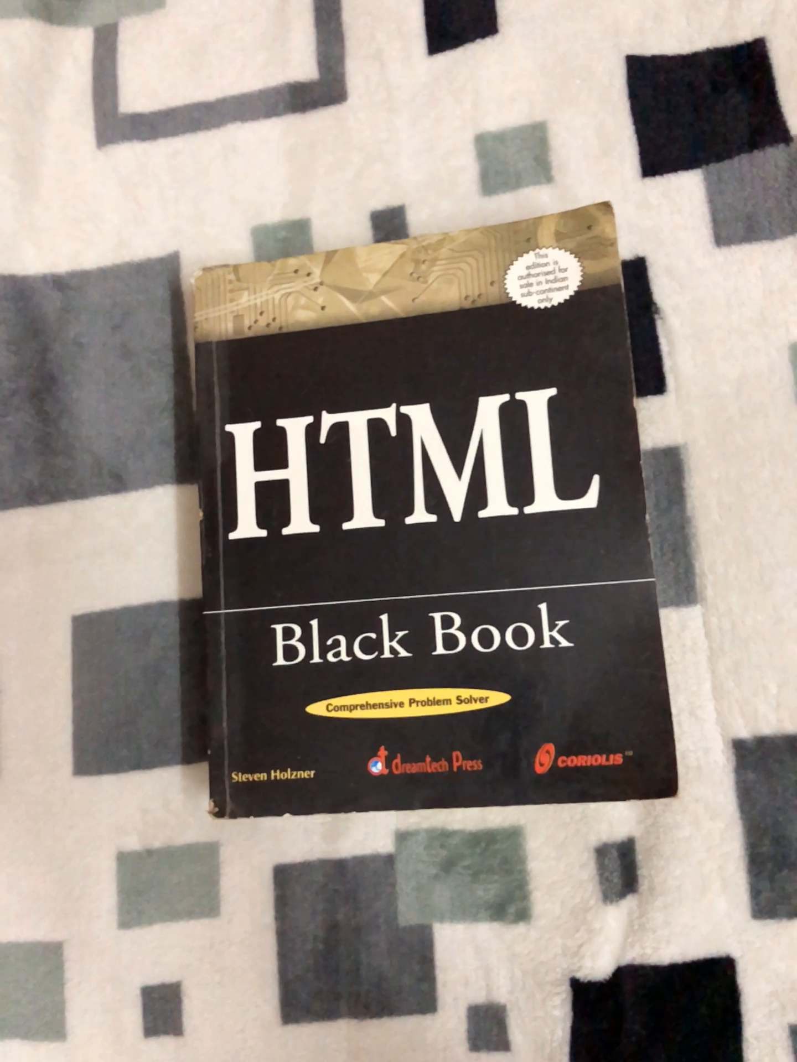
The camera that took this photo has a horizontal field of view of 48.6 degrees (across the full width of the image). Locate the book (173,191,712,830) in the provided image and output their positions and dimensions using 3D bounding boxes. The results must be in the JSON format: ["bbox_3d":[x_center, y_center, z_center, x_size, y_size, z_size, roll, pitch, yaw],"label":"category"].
[{"bbox_3d":[0.012,-0.004,0.372,0.190,0.070,0.230,-6,80,10],"label":"book"}]
